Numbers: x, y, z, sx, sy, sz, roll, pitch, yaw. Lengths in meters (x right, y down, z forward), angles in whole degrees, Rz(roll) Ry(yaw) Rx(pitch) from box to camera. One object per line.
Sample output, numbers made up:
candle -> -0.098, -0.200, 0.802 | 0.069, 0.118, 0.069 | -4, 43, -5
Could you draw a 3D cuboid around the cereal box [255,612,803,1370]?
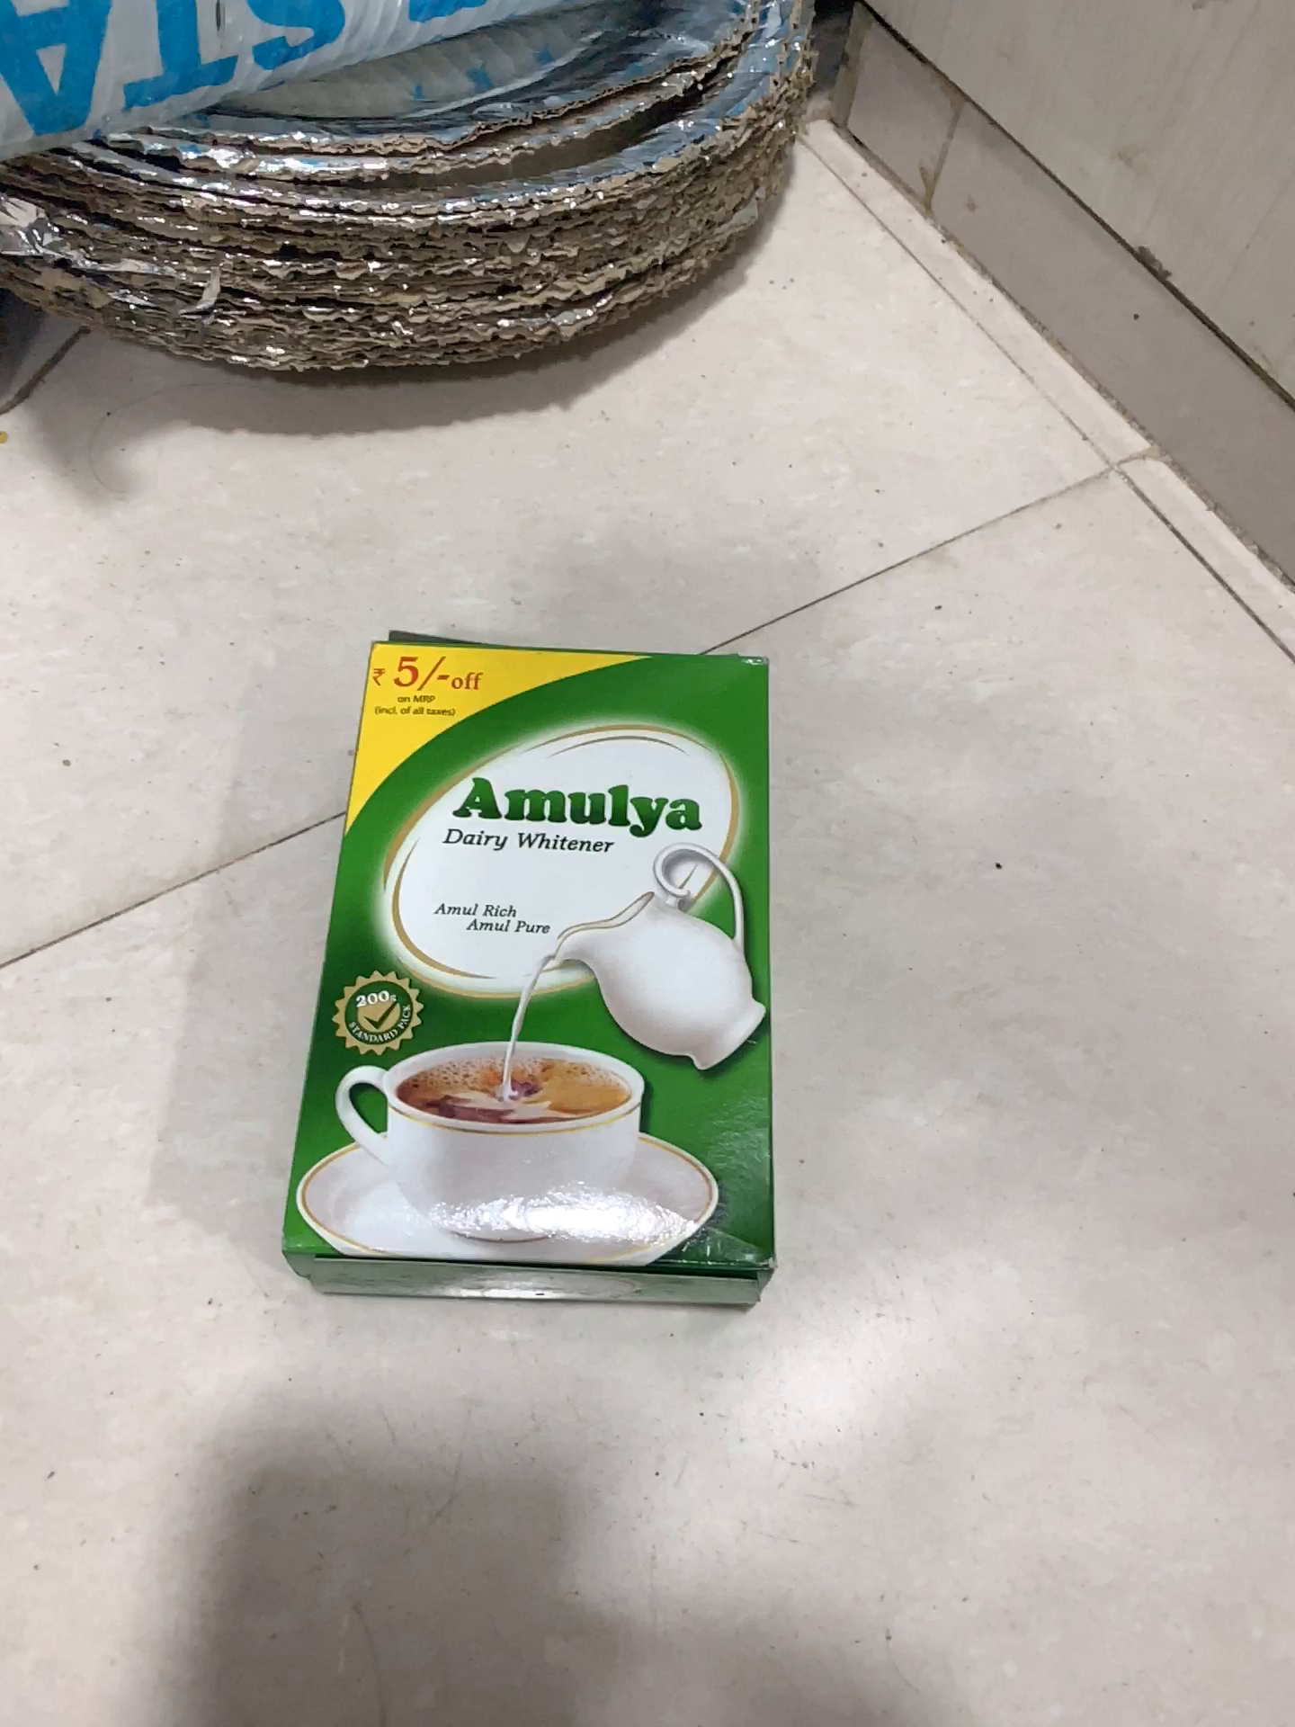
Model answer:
cereal box -> -0.018, 0.026, 0.277 | 0.090, 0.060, 0.140 | 3, 64, -1
